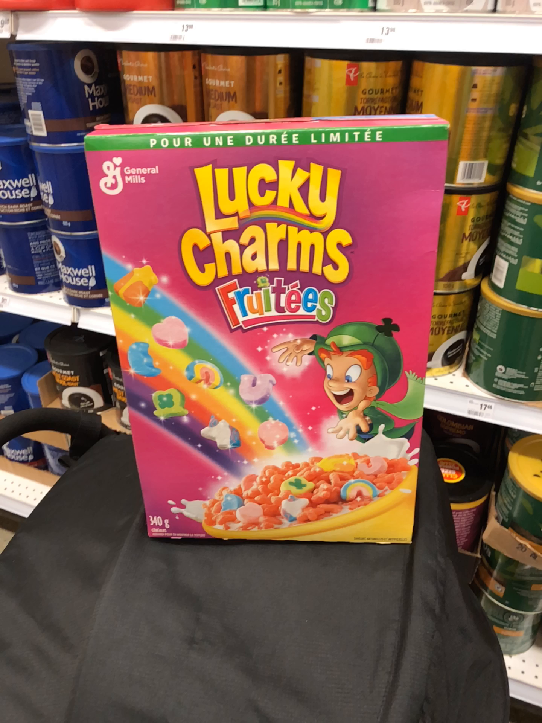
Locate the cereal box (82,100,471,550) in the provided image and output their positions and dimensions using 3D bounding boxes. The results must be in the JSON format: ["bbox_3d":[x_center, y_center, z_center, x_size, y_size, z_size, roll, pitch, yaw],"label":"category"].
[{"bbox_3d":[0.004,-0.010,0.404,0.200,0.299,0.060,1,27,3],"label":"cereal box"}]
